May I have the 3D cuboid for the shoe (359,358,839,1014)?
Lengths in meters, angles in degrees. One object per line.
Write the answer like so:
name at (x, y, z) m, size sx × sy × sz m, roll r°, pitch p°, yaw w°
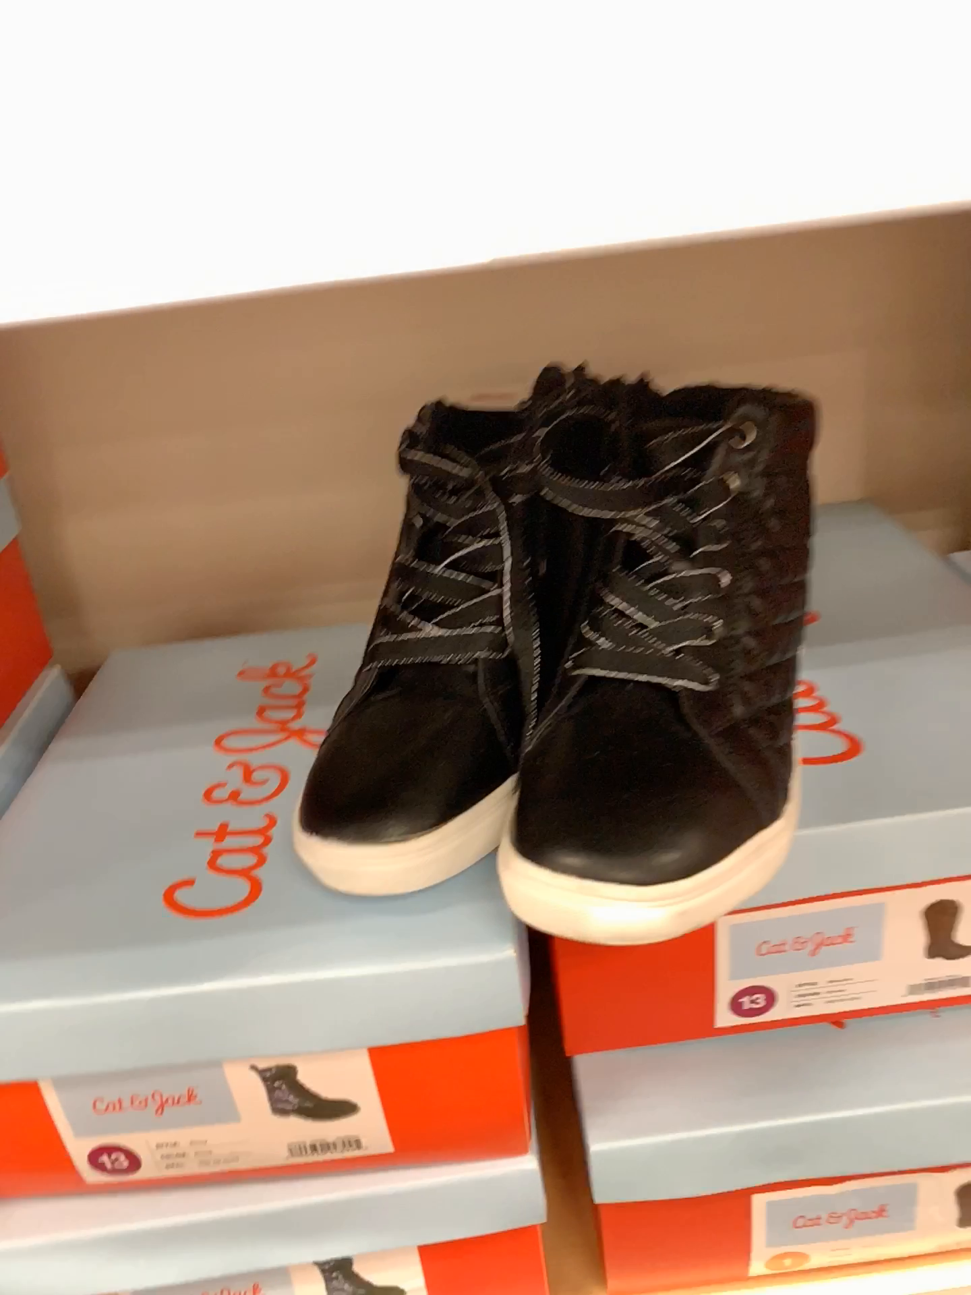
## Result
shoe at (0.060, -0.013, 0.345) m, size 0.100 × 0.109 × 0.231 m, roll 4°, pitch 31°, yaw 20°

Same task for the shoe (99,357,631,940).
shoe at (-0.019, -0.022, 0.392) m, size 0.100 × 0.119 × 0.231 m, roll 4°, pitch 31°, yaw 20°
